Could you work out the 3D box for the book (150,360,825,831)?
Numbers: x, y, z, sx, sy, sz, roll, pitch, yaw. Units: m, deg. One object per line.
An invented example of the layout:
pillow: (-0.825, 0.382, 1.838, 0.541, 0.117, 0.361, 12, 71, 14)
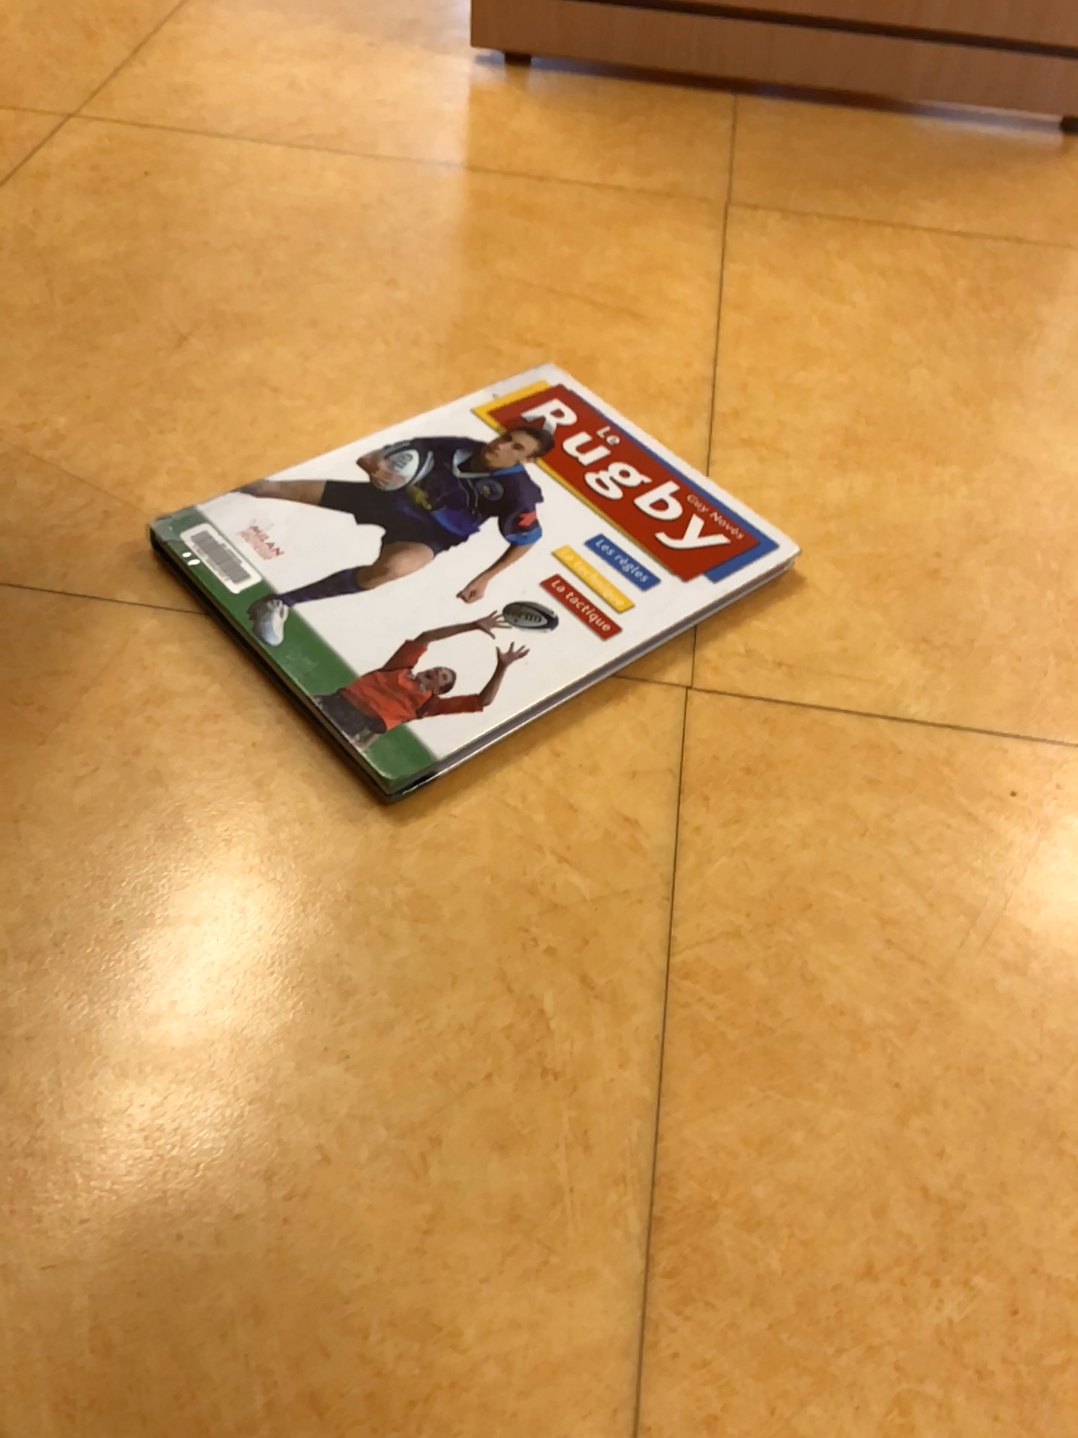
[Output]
book: (-0.022, -0.081, 0.589, 0.261, 0.024, 0.203, -30, 58, -28)
